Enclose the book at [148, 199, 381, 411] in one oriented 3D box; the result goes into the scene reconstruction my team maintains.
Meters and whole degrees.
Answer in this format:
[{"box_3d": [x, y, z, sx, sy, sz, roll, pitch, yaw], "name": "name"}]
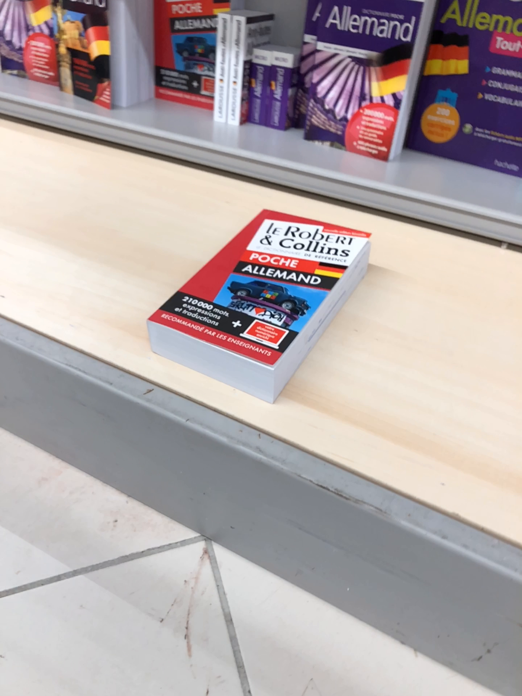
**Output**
[{"box_3d": [0.010, -0.044, 0.458, 0.110, 0.050, 0.171, 19, 49, 22], "name": "book"}]
